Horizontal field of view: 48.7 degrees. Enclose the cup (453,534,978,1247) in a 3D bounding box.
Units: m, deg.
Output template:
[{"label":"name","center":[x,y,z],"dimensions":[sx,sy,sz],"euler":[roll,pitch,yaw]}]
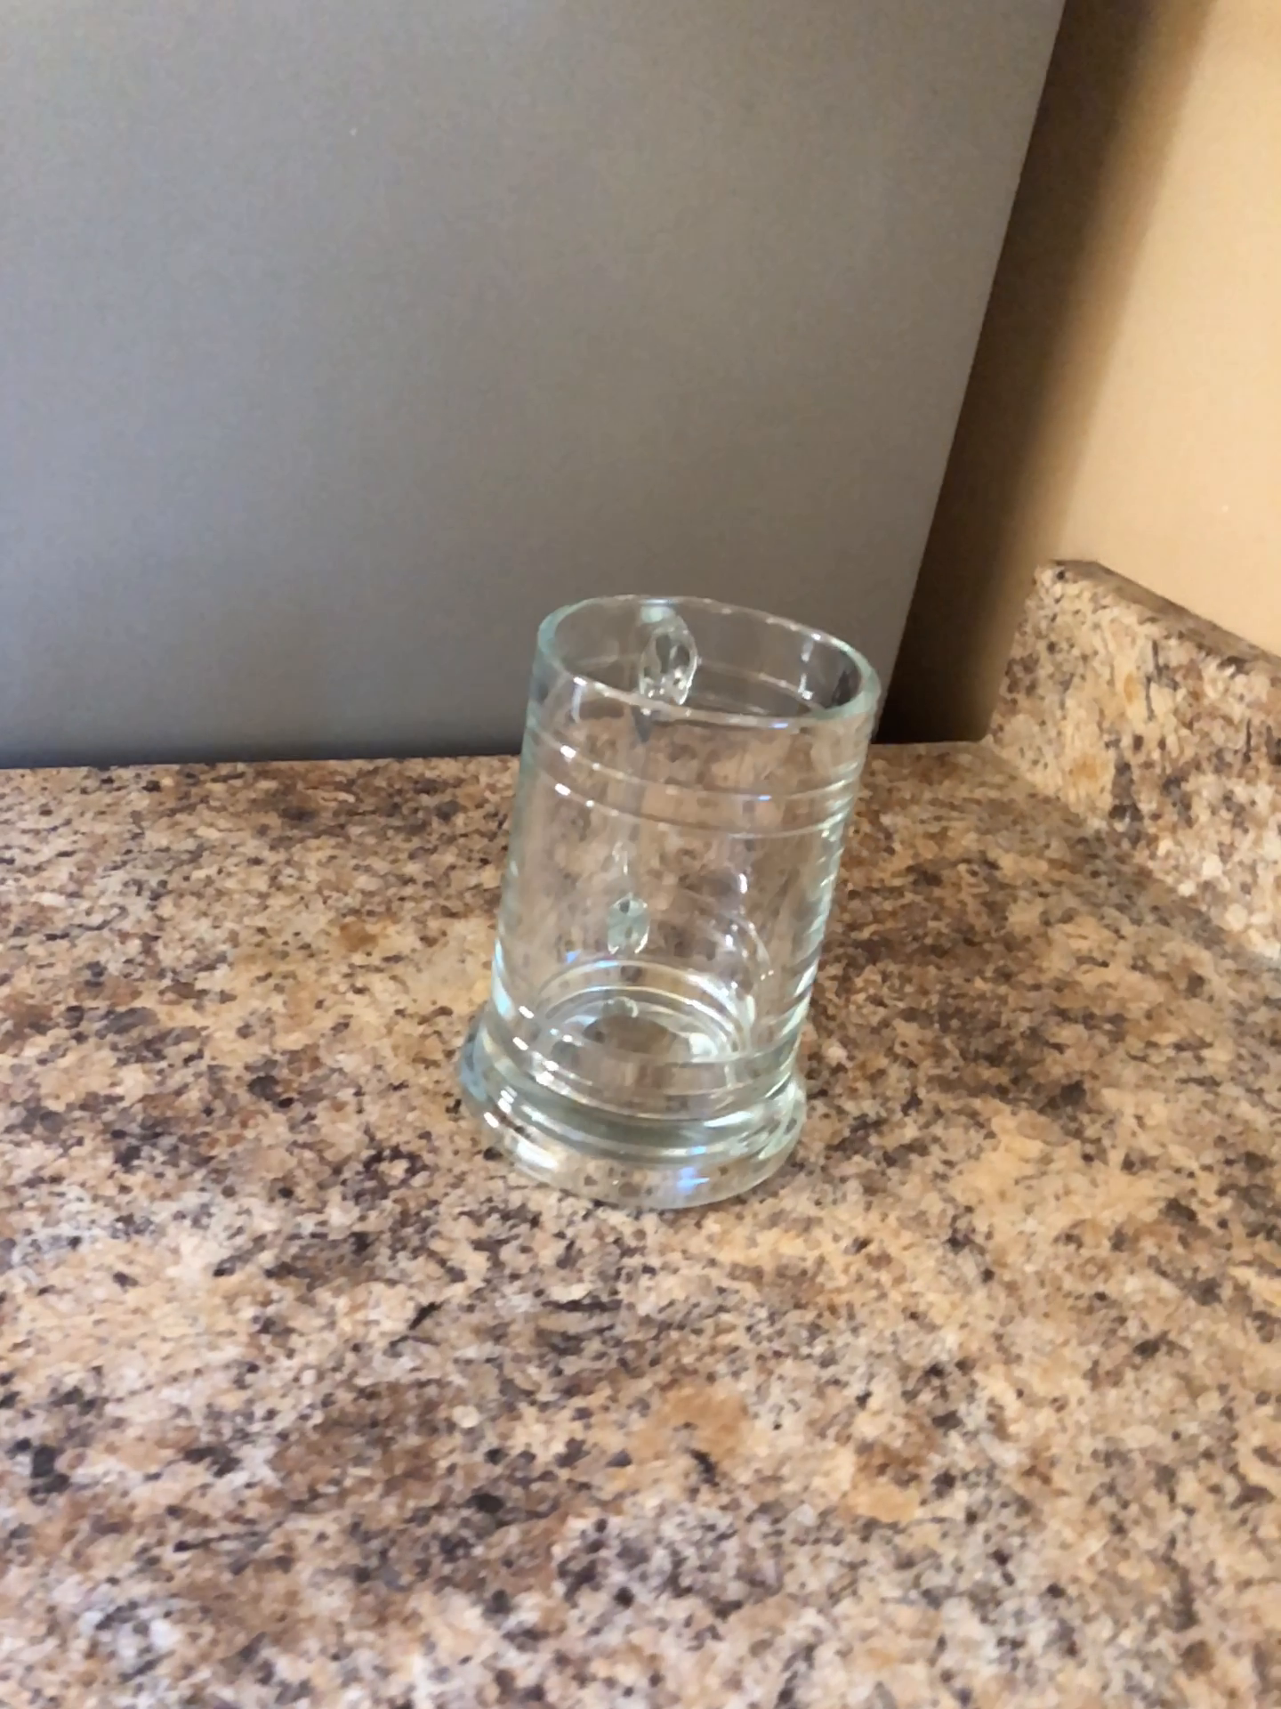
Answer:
[{"label":"cup","center":[0.006,0.005,0.386],"dimensions":[0.100,0.139,0.131],"euler":[5,28,-9]}]
